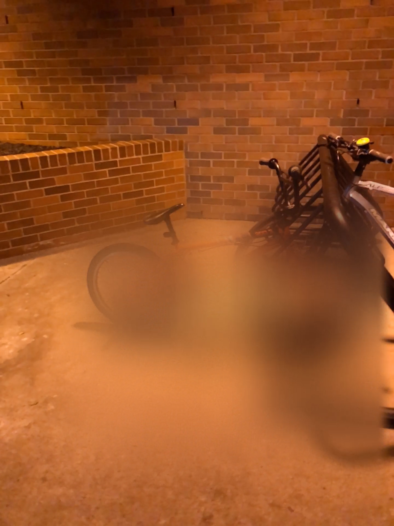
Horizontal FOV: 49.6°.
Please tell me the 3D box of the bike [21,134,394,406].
[{"bbox_3d":[0.071,-0.046,1.957,1.290,0.927,0.748,3,24,13],"label":"bike"}]
